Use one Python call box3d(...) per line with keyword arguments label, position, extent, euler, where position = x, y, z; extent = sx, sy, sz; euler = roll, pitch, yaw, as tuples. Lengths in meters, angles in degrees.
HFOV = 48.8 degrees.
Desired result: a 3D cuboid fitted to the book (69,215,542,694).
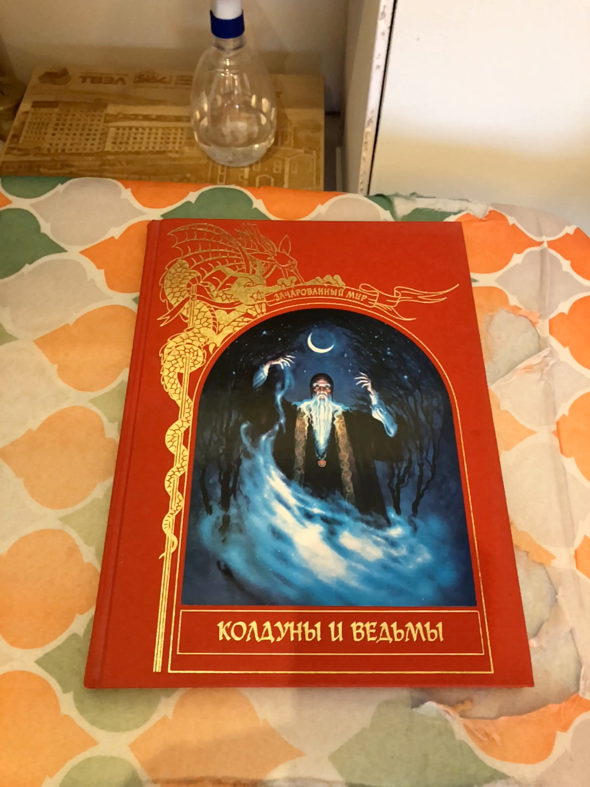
box3d(label="book", position=(0.005, 0.012, 0.375), extent=(0.215, 0.020, 0.291), euler=(0, 61, -1))
